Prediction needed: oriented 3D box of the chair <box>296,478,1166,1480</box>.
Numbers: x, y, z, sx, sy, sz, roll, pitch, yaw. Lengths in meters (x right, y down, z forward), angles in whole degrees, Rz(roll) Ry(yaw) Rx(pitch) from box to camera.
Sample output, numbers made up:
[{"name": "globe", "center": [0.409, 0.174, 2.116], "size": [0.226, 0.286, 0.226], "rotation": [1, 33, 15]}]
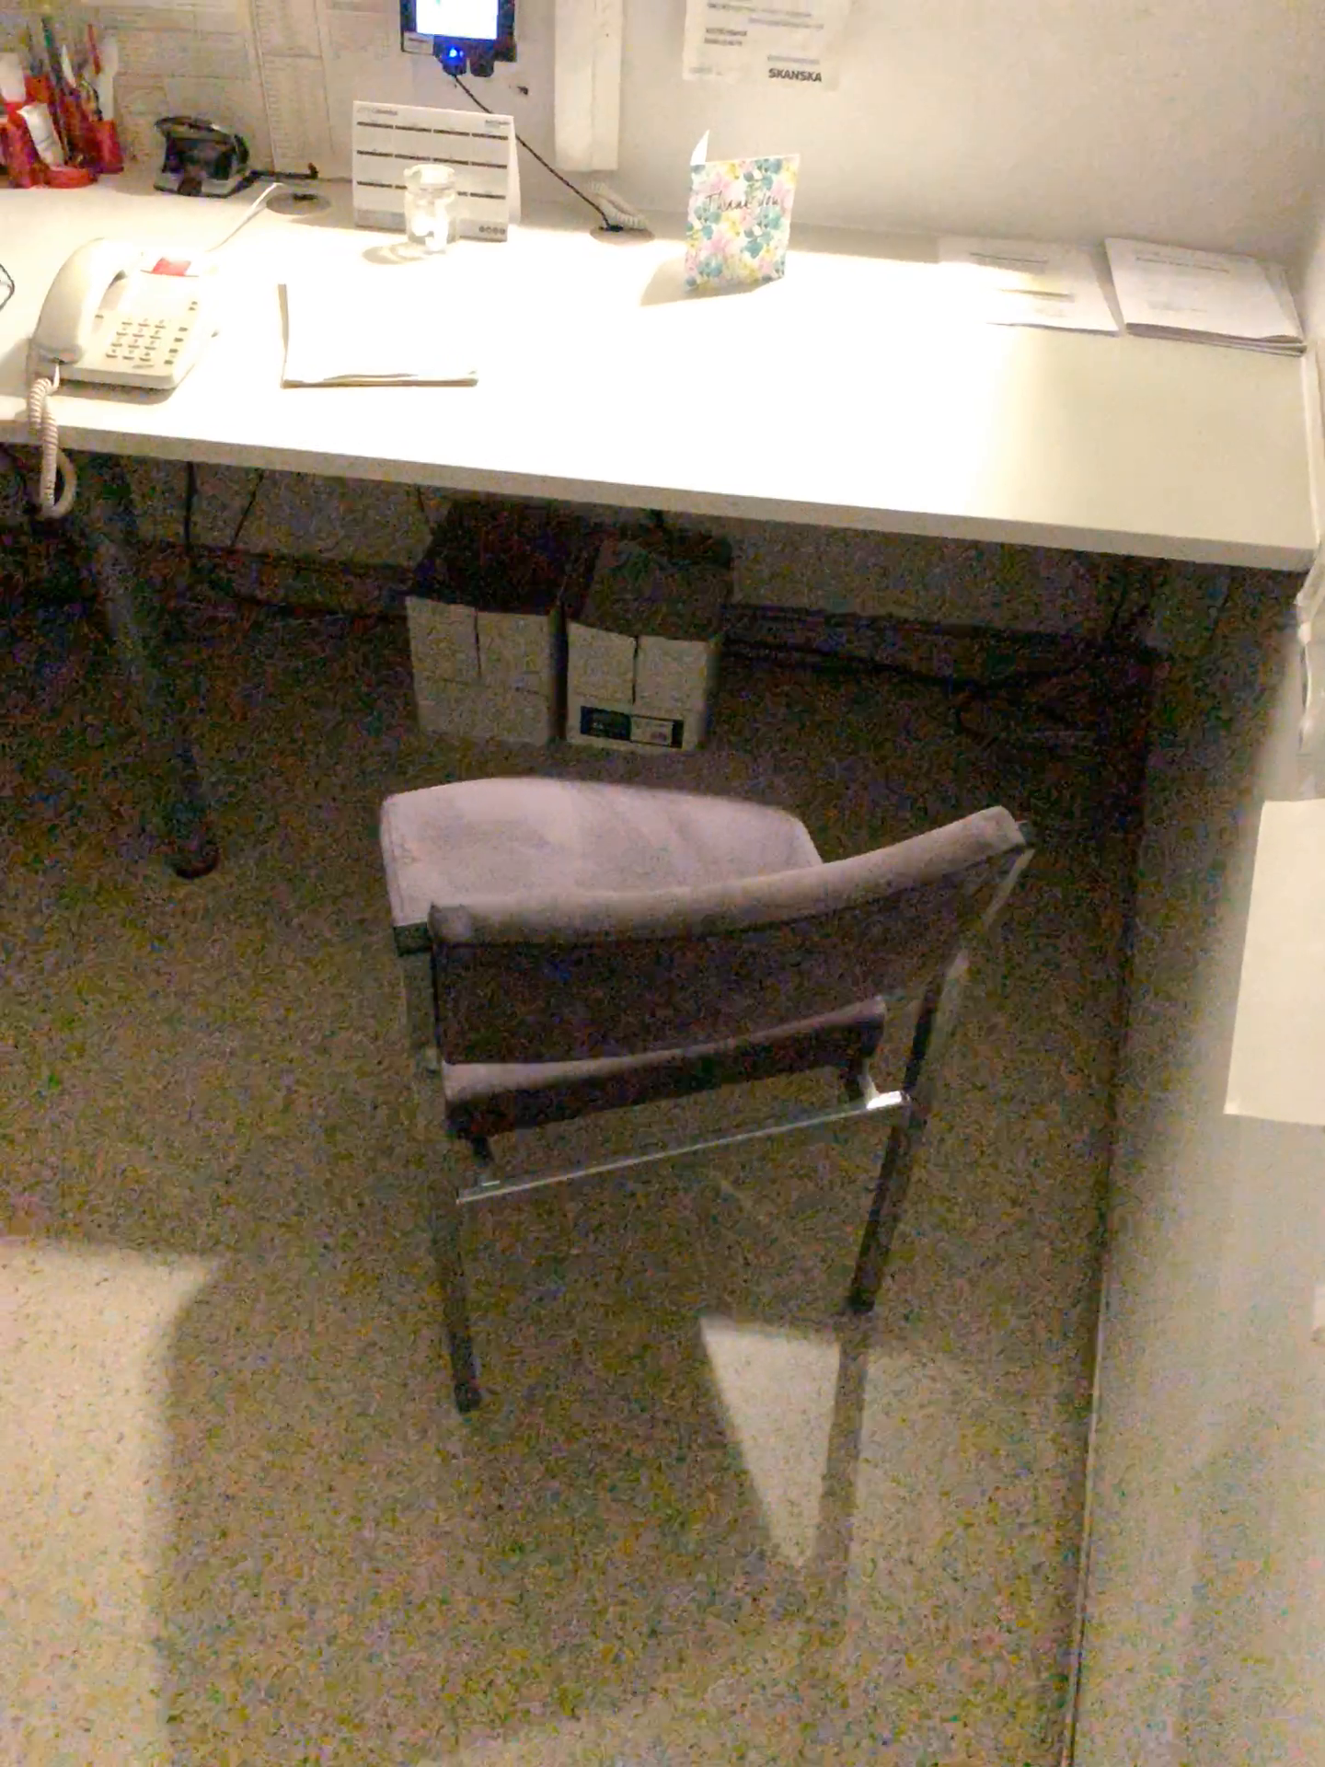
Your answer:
[{"name": "chair", "center": [-0.009, 0.085, 1.274], "size": [0.540, 0.693, 0.545], "rotation": [-8, 44, -13]}]
